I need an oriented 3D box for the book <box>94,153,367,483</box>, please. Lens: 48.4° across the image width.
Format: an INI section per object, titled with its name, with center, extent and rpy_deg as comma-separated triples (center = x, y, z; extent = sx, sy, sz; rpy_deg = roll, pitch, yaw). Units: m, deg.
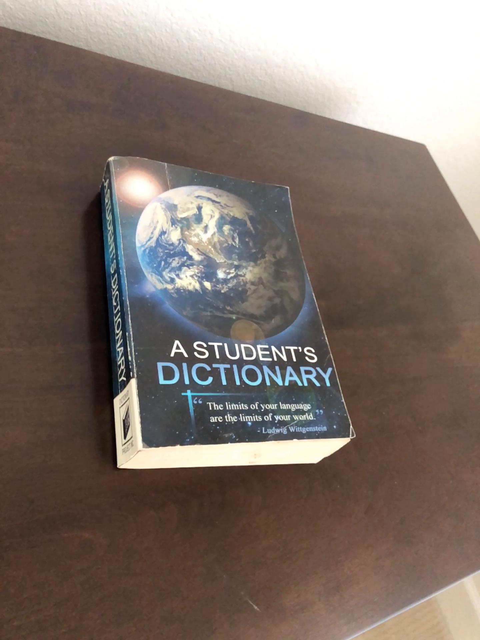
[book]
center = -0.014, -0.008, 0.348
extent = 0.141, 0.040, 0.202
rpy_deg = 3, 60, -27
